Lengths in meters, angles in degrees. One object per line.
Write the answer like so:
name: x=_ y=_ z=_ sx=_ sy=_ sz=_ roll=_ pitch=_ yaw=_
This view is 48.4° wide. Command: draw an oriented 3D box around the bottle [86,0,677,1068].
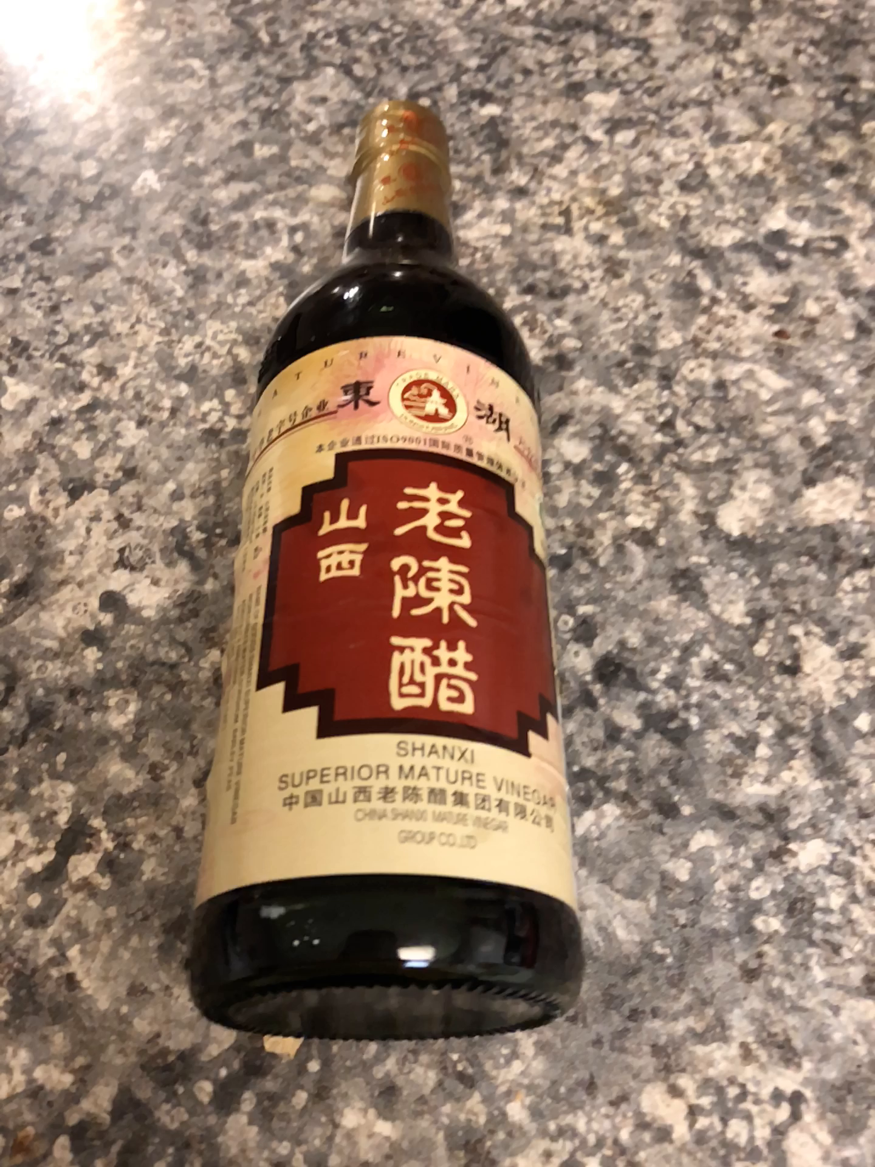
bottle: x=-0.007 y=-0.034 z=0.209 sx=0.070 sy=0.070 sz=0.241 roll=2 pitch=57 yaw=-2
